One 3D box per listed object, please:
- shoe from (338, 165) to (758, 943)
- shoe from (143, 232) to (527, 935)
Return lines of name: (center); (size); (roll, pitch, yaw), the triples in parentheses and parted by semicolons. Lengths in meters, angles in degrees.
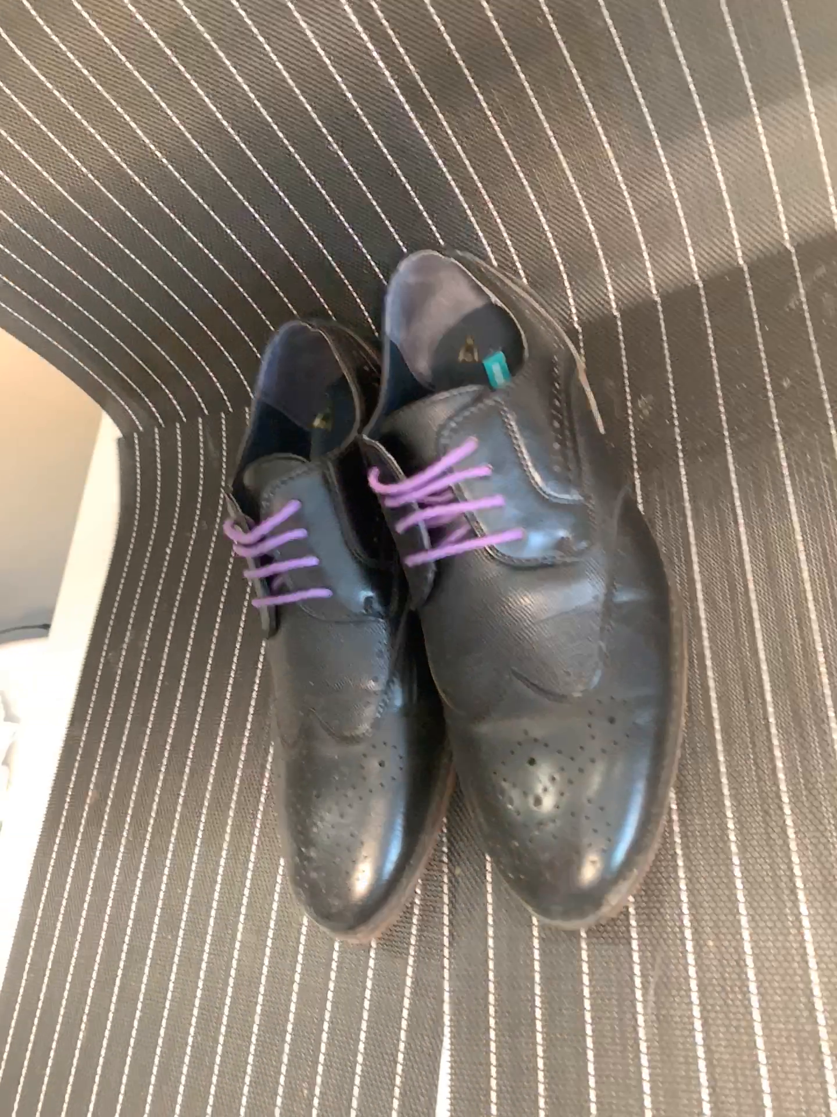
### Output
shoe: (0.039, -0.002, 0.345); (0.110, 0.090, 0.280); (-18, 60, 28)
shoe: (-0.029, 0.014, 0.411); (0.120, 0.100, 0.300); (-14, 62, 30)
